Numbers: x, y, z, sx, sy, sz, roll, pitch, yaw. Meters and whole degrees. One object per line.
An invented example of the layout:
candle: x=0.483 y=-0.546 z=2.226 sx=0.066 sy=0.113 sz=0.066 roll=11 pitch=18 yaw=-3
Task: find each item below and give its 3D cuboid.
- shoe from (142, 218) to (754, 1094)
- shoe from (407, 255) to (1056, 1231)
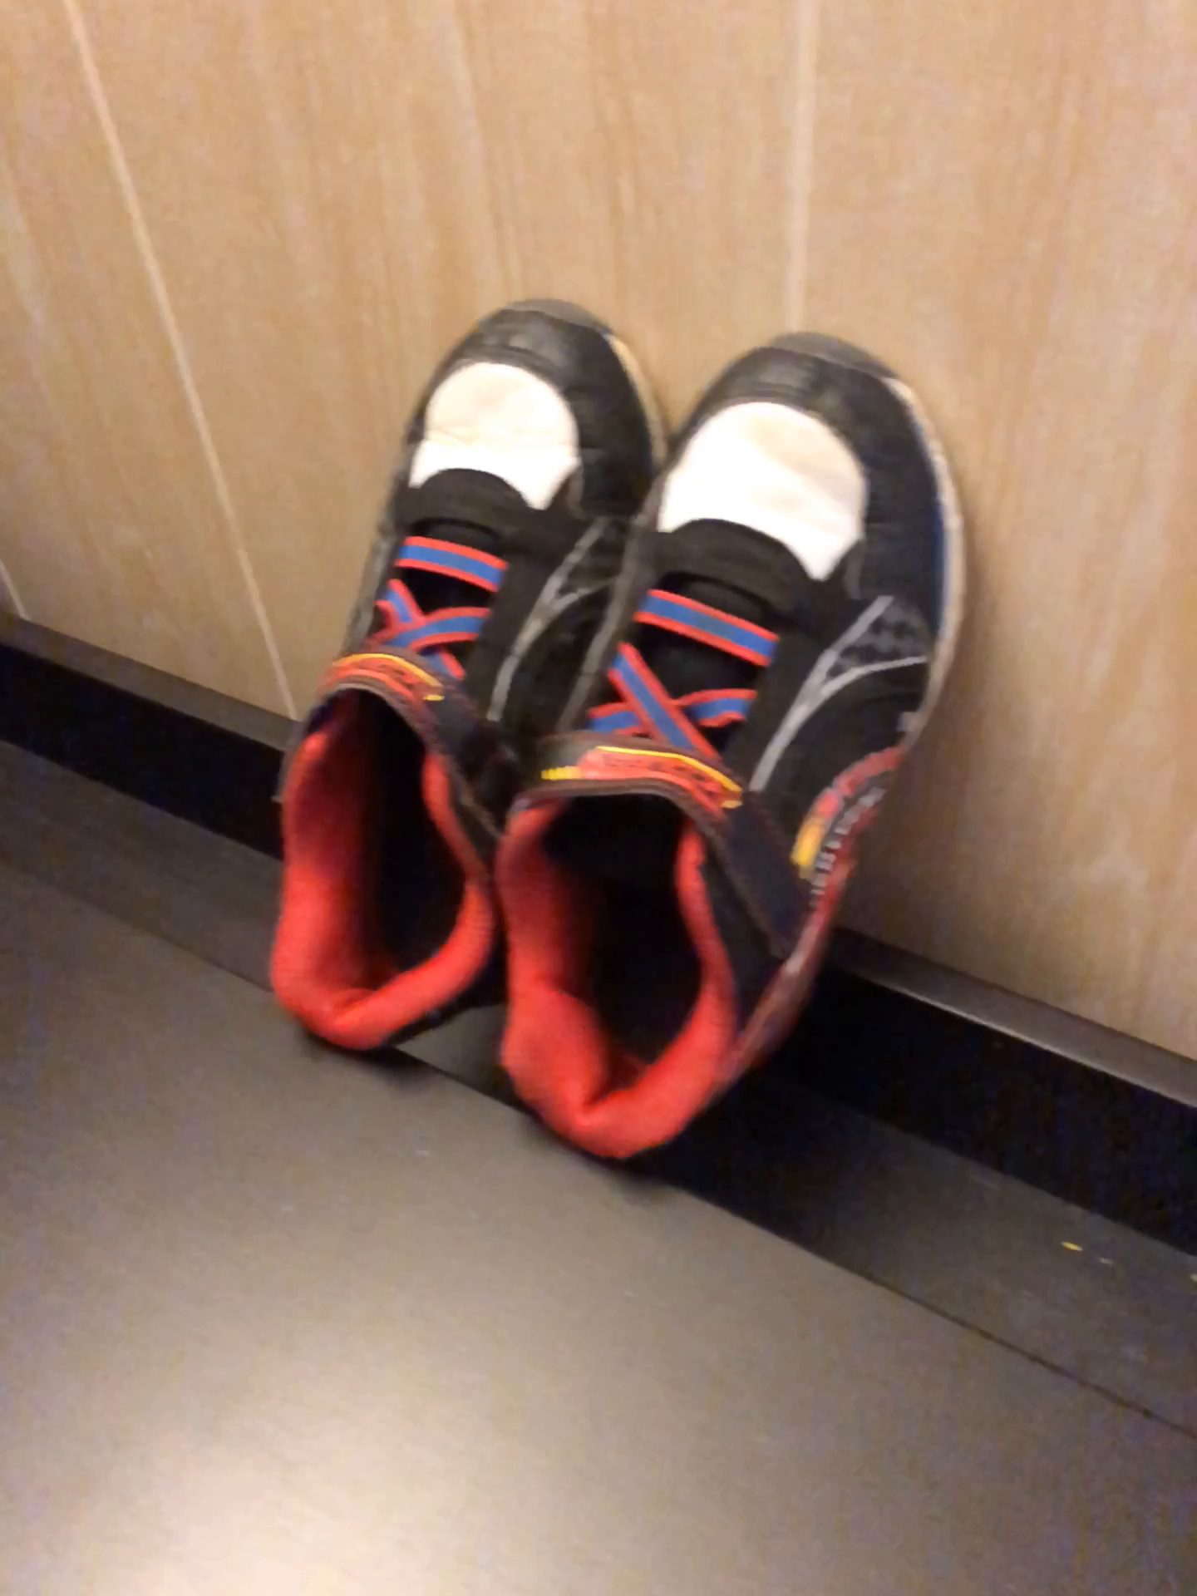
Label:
shoe: x=-0.039 y=-0.037 z=0.357 sx=0.090 sy=0.200 sz=0.070 roll=19 pitch=6 yaw=23
shoe: x=0.033 y=-0.015 z=0.338 sx=0.090 sy=0.210 sz=0.070 roll=21 pitch=10 yaw=24
